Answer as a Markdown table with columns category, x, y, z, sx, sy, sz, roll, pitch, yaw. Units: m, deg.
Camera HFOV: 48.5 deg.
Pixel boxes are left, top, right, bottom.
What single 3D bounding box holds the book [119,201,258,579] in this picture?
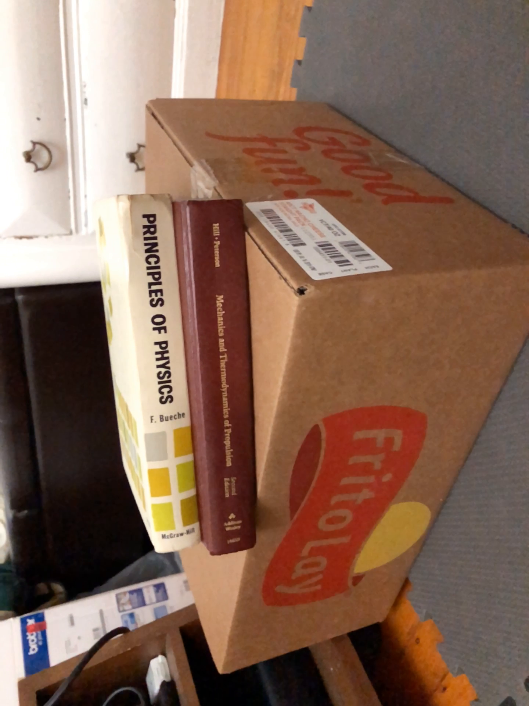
| category | x | y | z | sx | sy | sz | roll | pitch | yaw |
| --- | --- | --- | --- | --- | --- | --- | --- | --- | --- |
| book | -0.064 | 0.013 | 0.460 | 0.181 | 0.040 | 0.250 | -147 | 52 | -62 |

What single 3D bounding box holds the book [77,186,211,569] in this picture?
| category | x | y | z | sx | sy | sz | roll | pitch | yaw |
| --- | --- | --- | --- | --- | --- | --- | --- | --- | --- |
| book | -0.099 | 0.005 | 0.458 | 0.181 | 0.040 | 0.250 | -153 | 56 | -64 |
